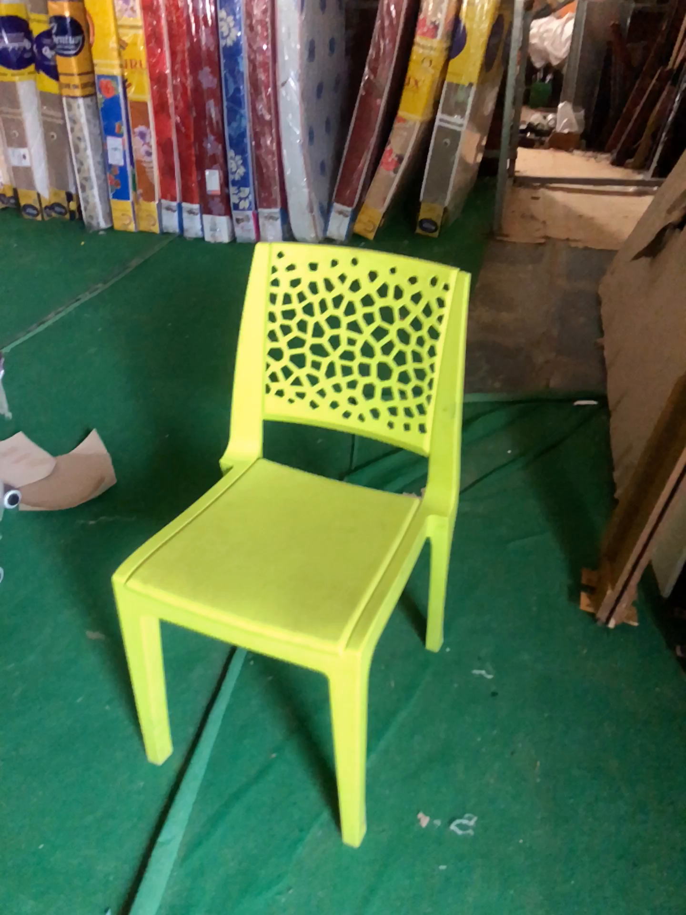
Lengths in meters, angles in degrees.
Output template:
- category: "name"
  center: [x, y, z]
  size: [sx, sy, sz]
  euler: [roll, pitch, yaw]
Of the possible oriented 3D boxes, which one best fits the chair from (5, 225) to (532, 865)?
- category: "chair"
  center: [-0.051, 0.090, 1.304]
  size: [0.530, 0.776, 0.644]
  euler: [13, 33, 21]
